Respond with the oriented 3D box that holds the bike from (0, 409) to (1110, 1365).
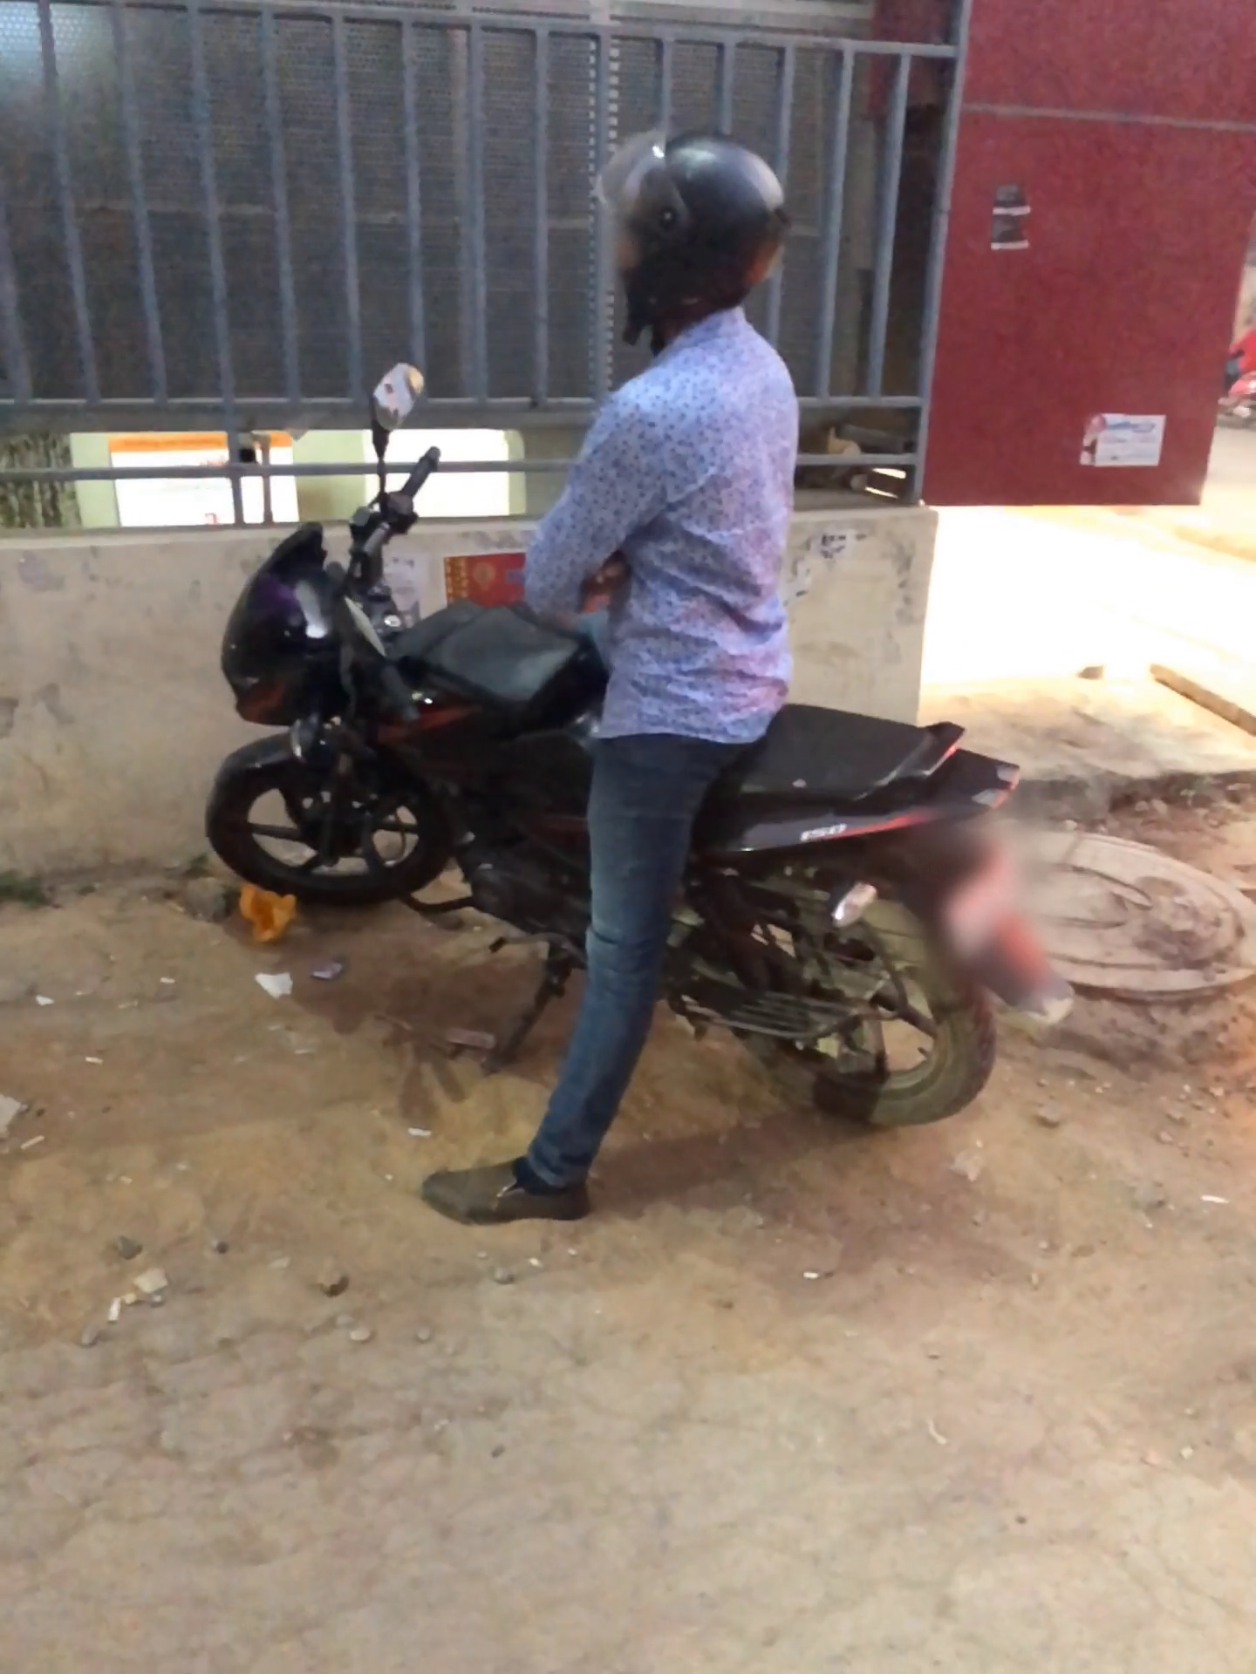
[{"bbox_3d":[-0.226,-0.078,2.506,1.802,1.144,0.749,15,25,27],"label":"bike"}]
